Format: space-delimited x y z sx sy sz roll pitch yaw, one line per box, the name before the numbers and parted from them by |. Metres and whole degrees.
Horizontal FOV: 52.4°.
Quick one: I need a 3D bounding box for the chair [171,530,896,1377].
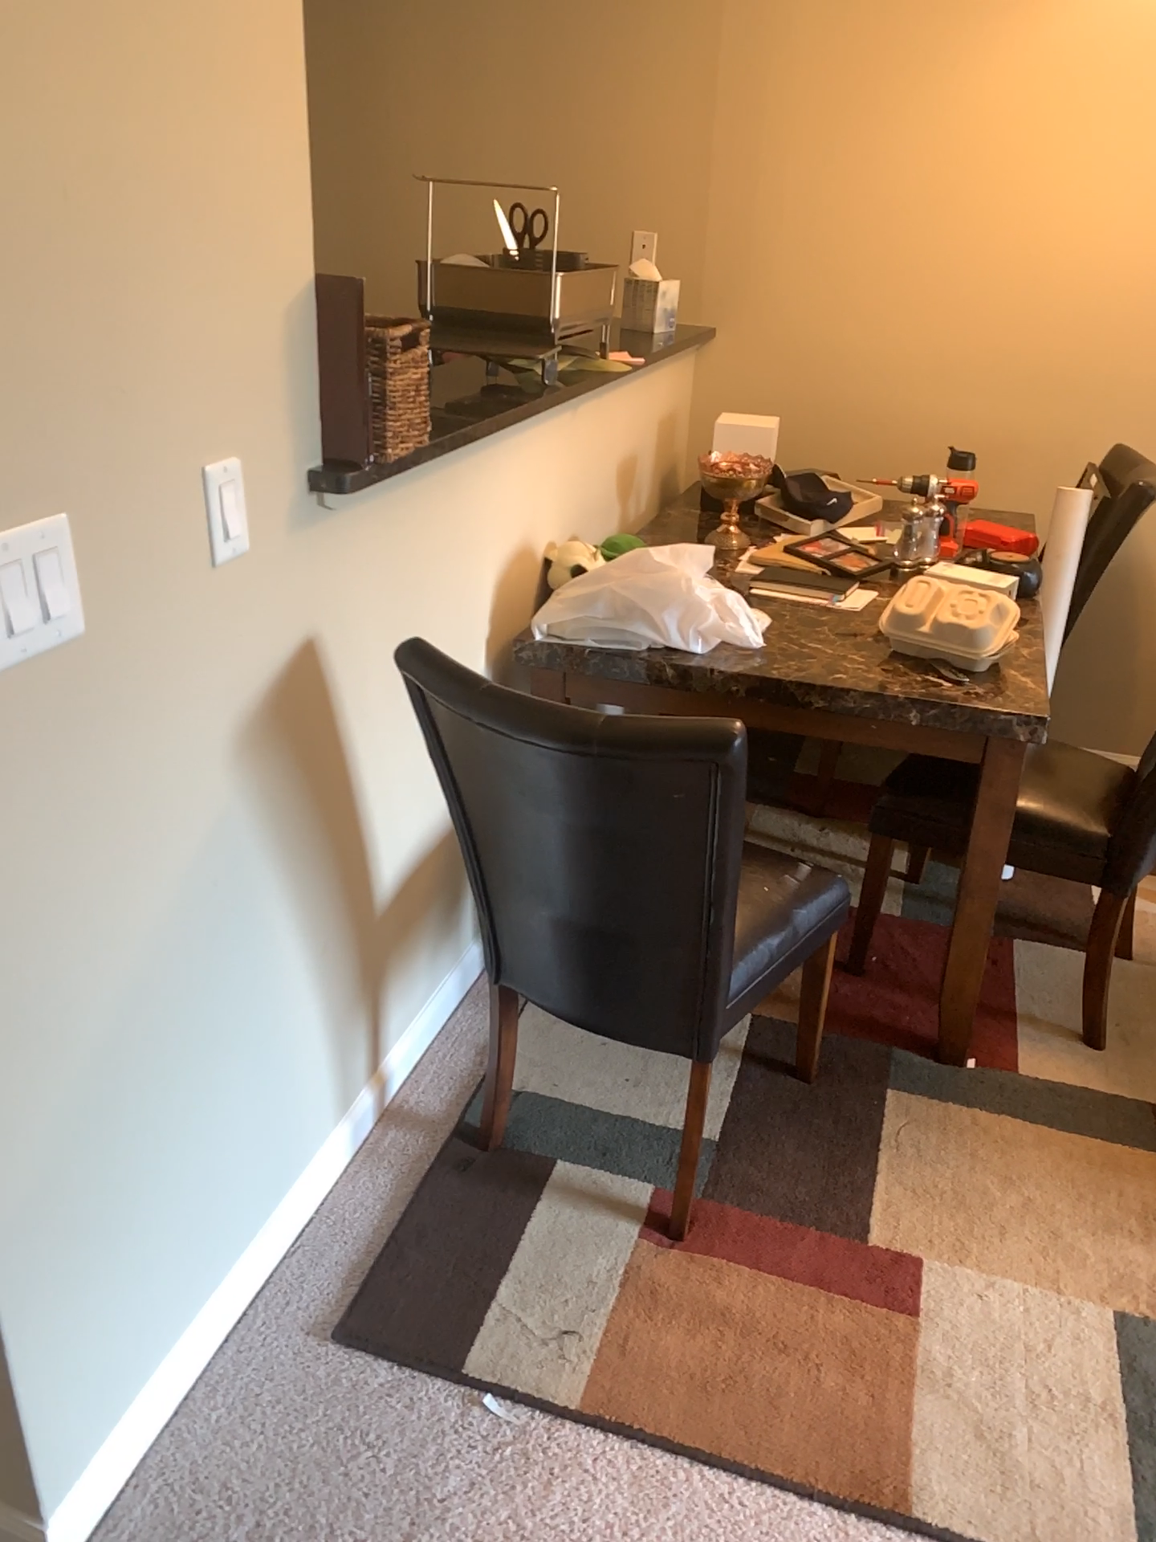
chair | -0.041 0.207 1.911 0.811 0.925 0.733 14 28 22
